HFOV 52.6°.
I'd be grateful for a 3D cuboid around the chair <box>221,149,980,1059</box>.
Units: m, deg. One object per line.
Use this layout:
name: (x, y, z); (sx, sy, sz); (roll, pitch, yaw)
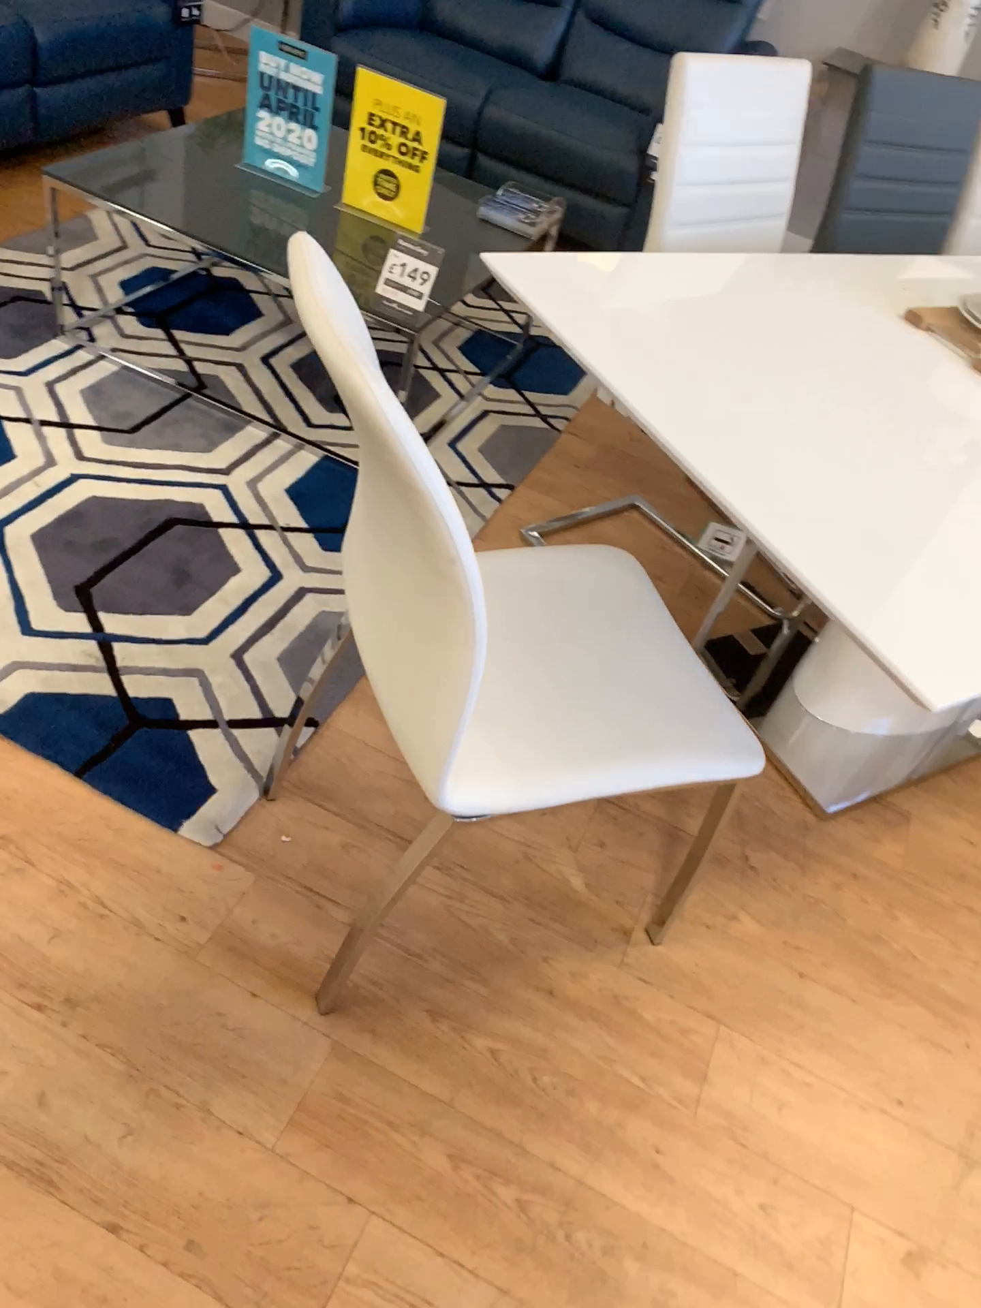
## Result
chair: (0.062, -0.026, 1.209); (0.630, 0.863, 0.519); (-5, 47, -24)
